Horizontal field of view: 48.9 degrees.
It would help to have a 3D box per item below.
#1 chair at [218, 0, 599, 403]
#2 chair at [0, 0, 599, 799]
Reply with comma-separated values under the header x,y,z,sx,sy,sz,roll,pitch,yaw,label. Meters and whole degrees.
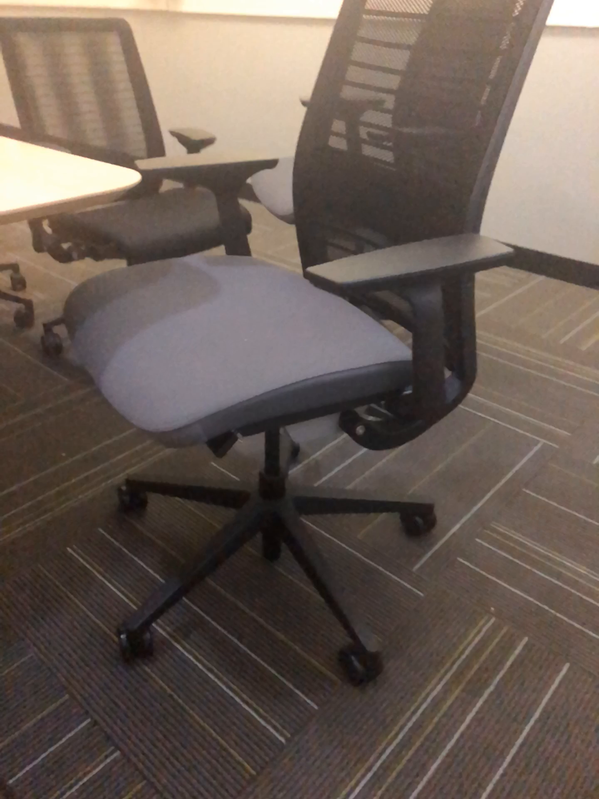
x,y,z,sx,sy,sz,roll,pitch,yaw,label
0.210,-0.630,1.859,0.711,0.961,0.725,-8,30,-15,chair
-0.043,-0.156,1.008,0.723,0.961,0.734,-14,32,-26,chair
